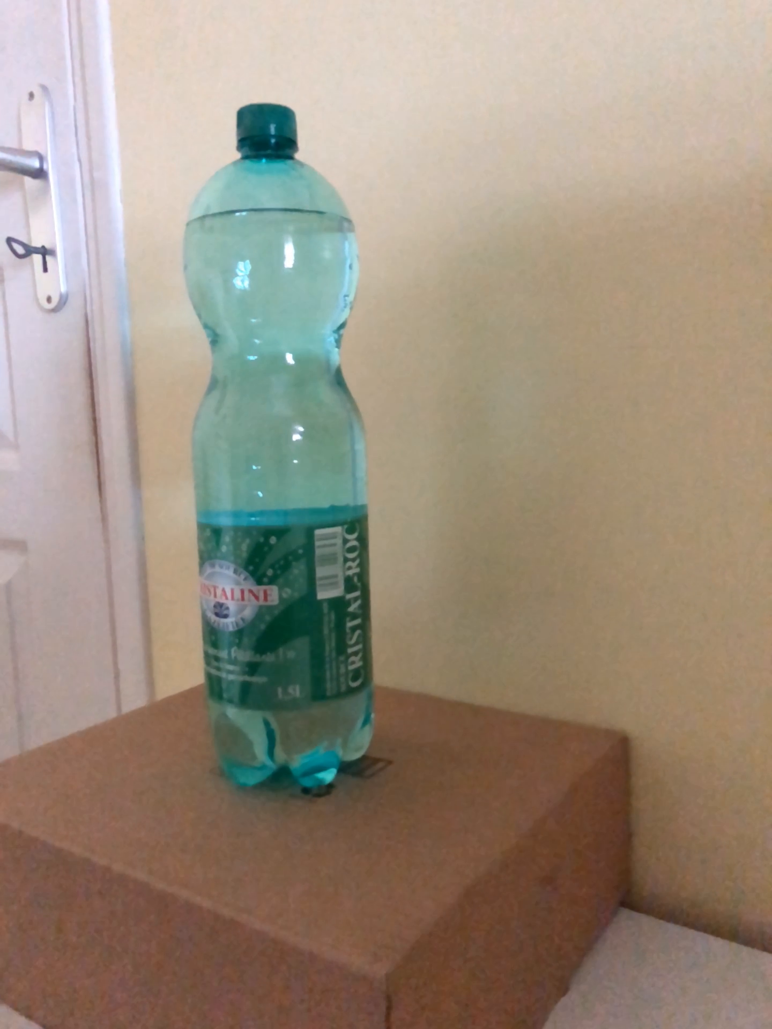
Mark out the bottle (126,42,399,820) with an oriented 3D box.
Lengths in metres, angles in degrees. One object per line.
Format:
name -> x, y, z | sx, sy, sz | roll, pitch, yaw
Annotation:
bottle -> -0.060, -0.035, 0.429 | 0.090, 0.339, 0.080 | 3, 8, 41
